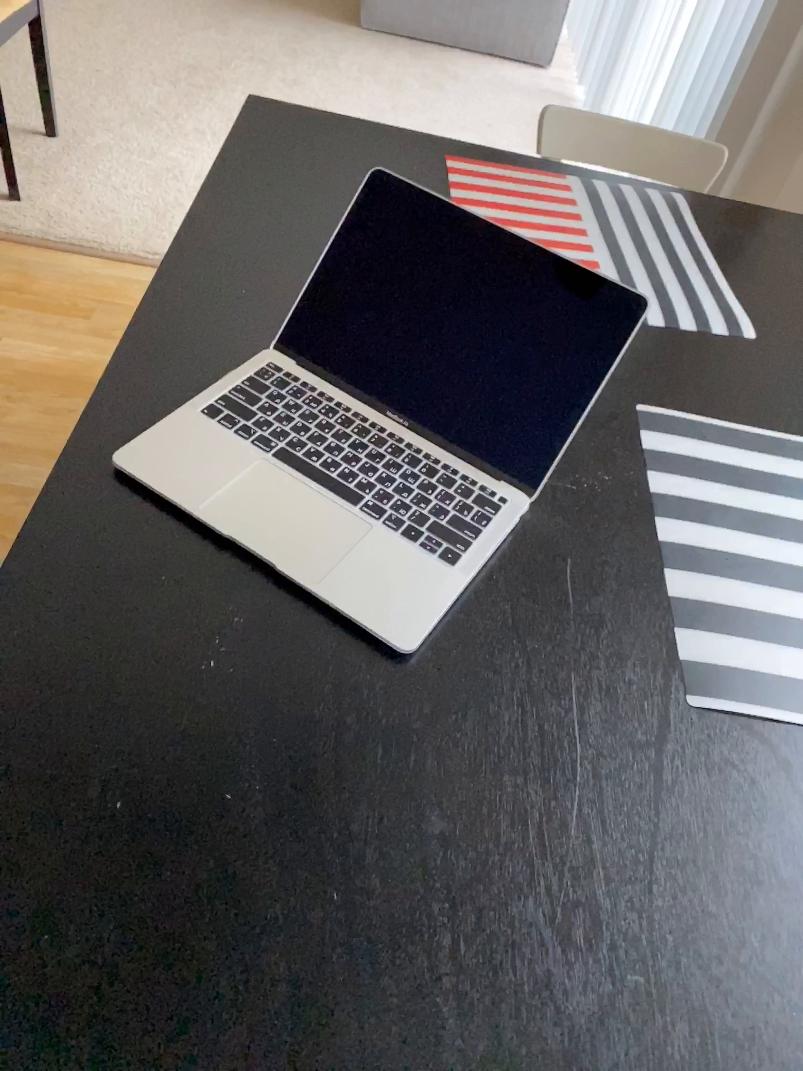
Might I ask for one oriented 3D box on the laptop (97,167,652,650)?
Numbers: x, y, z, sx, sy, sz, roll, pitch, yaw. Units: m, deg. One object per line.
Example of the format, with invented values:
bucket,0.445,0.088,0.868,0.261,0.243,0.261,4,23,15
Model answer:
laptop,-0.008,-0.139,0.703,0.297,0.139,0.362,31,50,14
